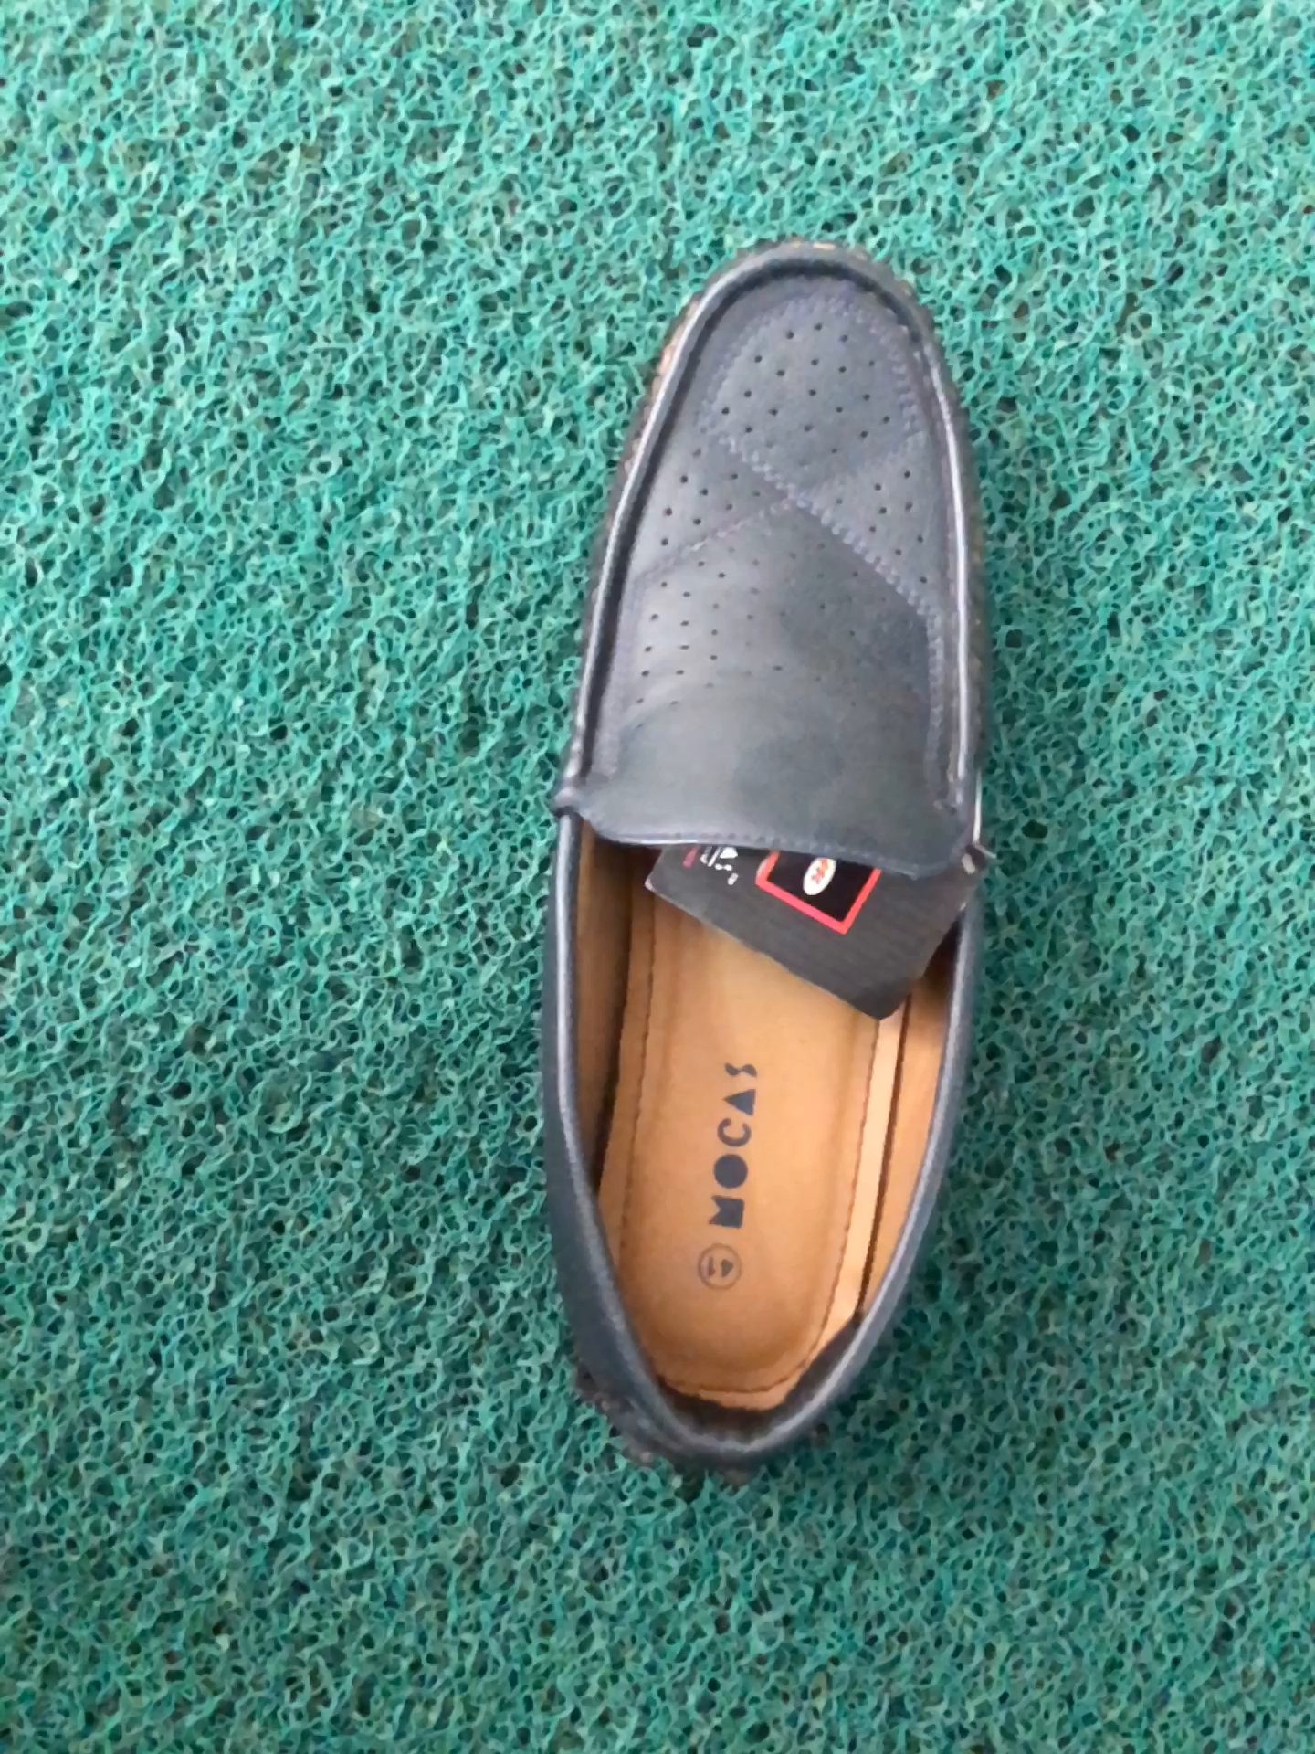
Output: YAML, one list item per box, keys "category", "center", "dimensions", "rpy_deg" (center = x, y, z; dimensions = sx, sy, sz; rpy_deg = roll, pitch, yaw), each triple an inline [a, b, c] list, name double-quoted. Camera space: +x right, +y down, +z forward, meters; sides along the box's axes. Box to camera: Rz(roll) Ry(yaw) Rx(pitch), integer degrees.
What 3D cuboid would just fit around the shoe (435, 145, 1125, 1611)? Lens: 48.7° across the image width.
- category: "shoe"
  center: [0.025, -0.001, 0.323]
  dimensions: [0.100, 0.070, 0.280]
  rpy_deg: [9, 86, -3]
